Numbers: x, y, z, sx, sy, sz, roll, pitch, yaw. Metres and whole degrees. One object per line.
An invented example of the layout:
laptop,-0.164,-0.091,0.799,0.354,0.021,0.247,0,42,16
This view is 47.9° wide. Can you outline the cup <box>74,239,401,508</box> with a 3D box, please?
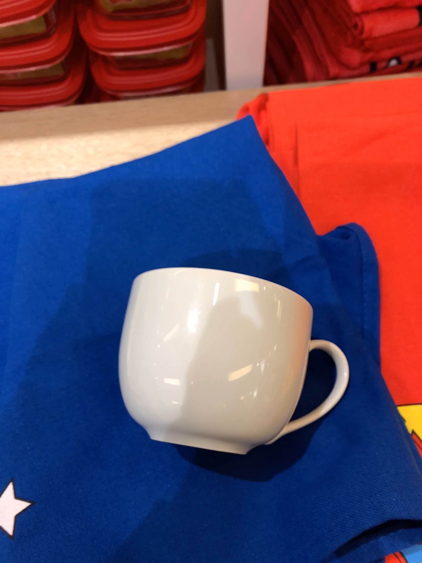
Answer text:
cup,0.015,0.051,0.240,0.130,0.080,0.090,18,72,-23
